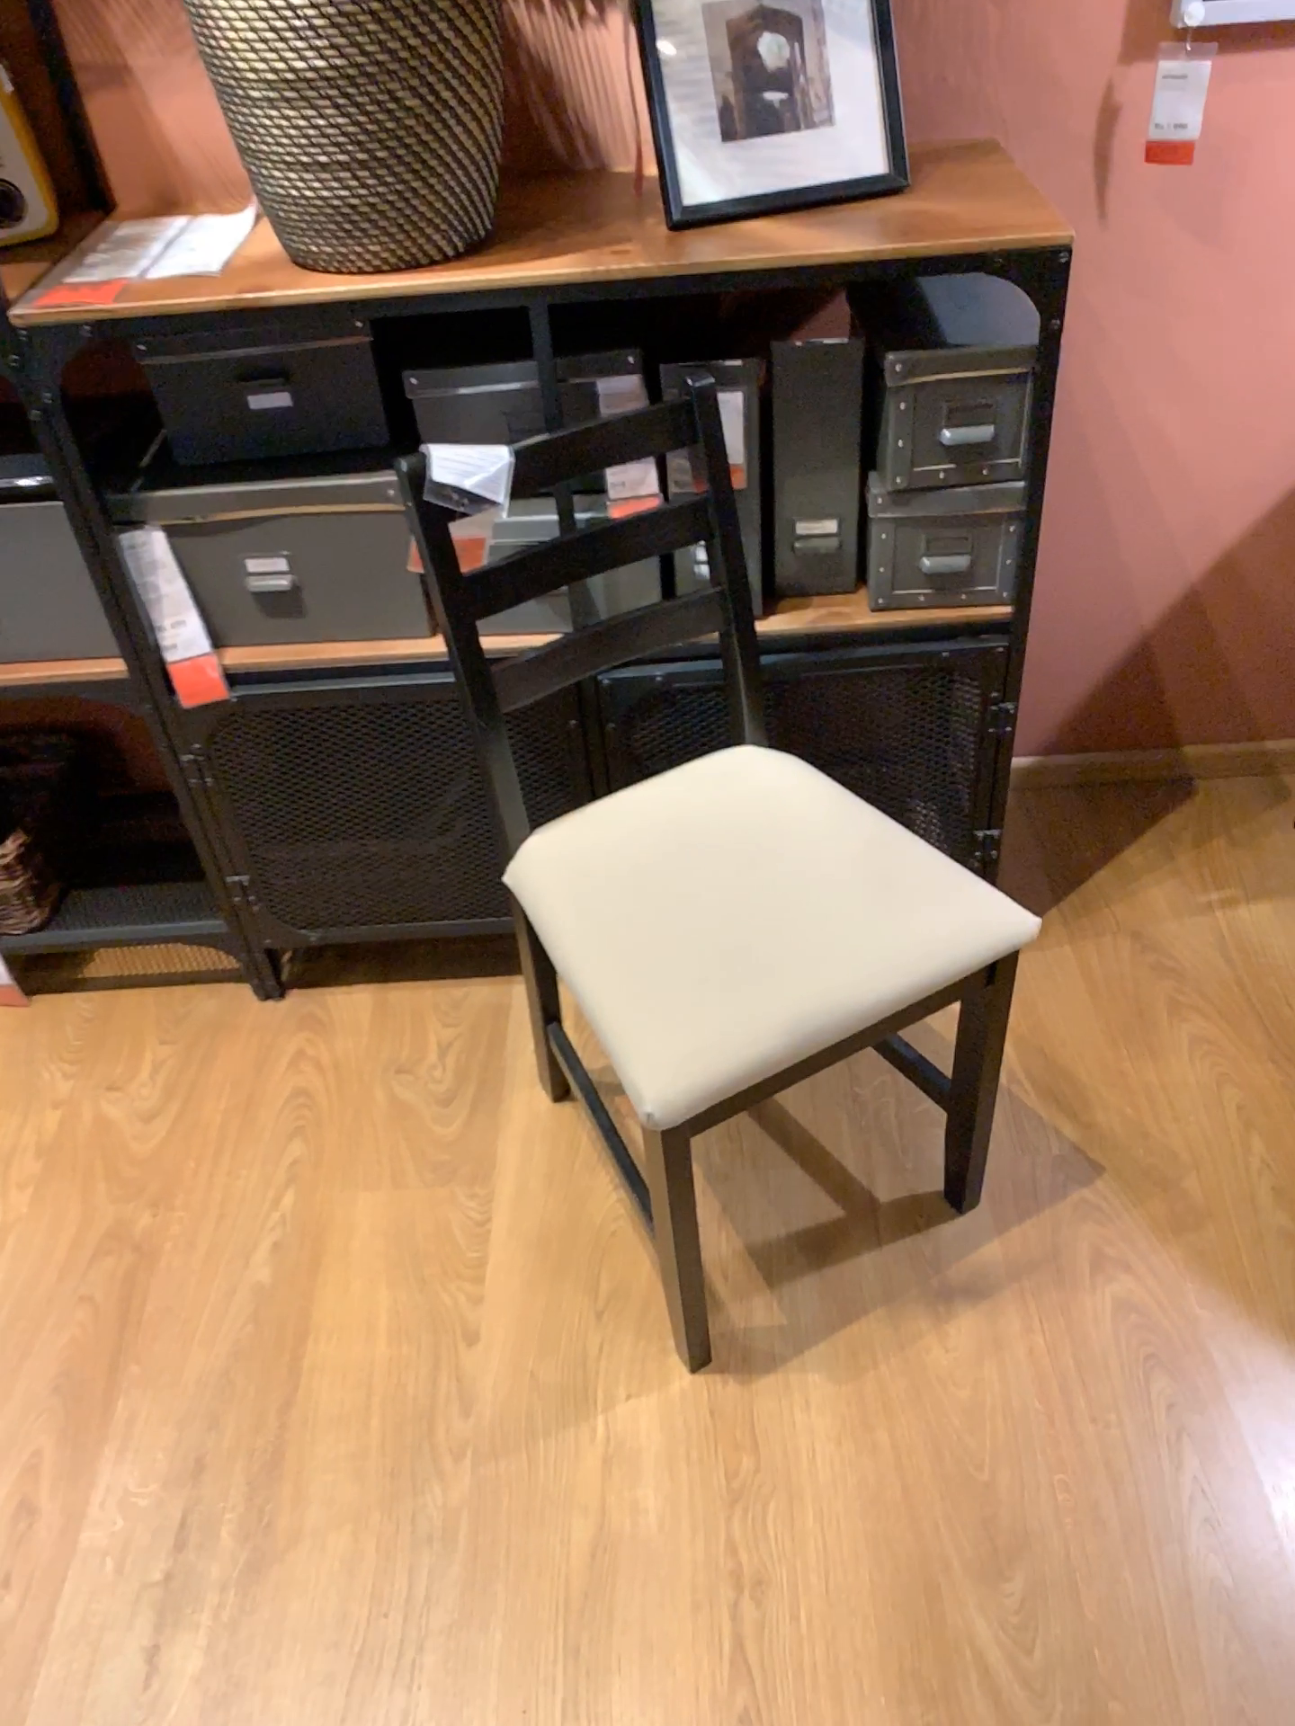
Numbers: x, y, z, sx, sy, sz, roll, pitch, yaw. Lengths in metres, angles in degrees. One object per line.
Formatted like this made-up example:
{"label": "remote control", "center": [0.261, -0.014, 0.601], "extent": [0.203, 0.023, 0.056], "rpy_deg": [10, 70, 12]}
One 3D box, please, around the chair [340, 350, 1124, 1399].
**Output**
{"label": "chair", "center": [0.066, 0.021, 1.293], "extent": [0.410, 0.796, 0.502], "rpy_deg": [-23, 44, -18]}
